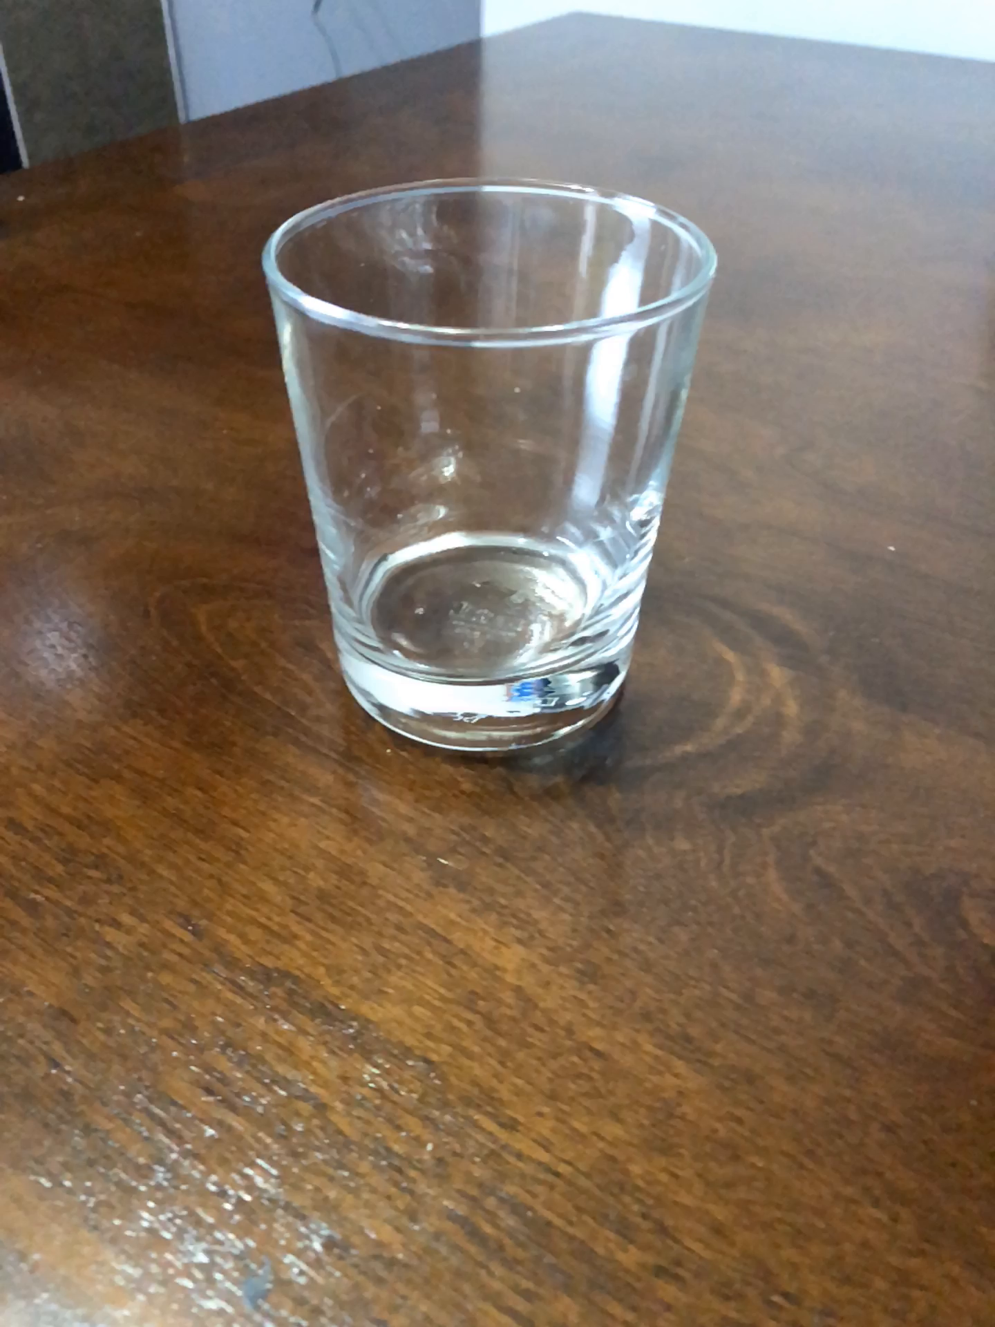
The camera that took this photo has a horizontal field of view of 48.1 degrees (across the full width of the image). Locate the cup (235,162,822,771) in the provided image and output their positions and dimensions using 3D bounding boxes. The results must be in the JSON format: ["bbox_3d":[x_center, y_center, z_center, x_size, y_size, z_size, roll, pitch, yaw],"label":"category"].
[{"bbox_3d":[0.000,-0.044,0.233,0.090,0.090,0.090,1,38,-1],"label":"cup"}]
